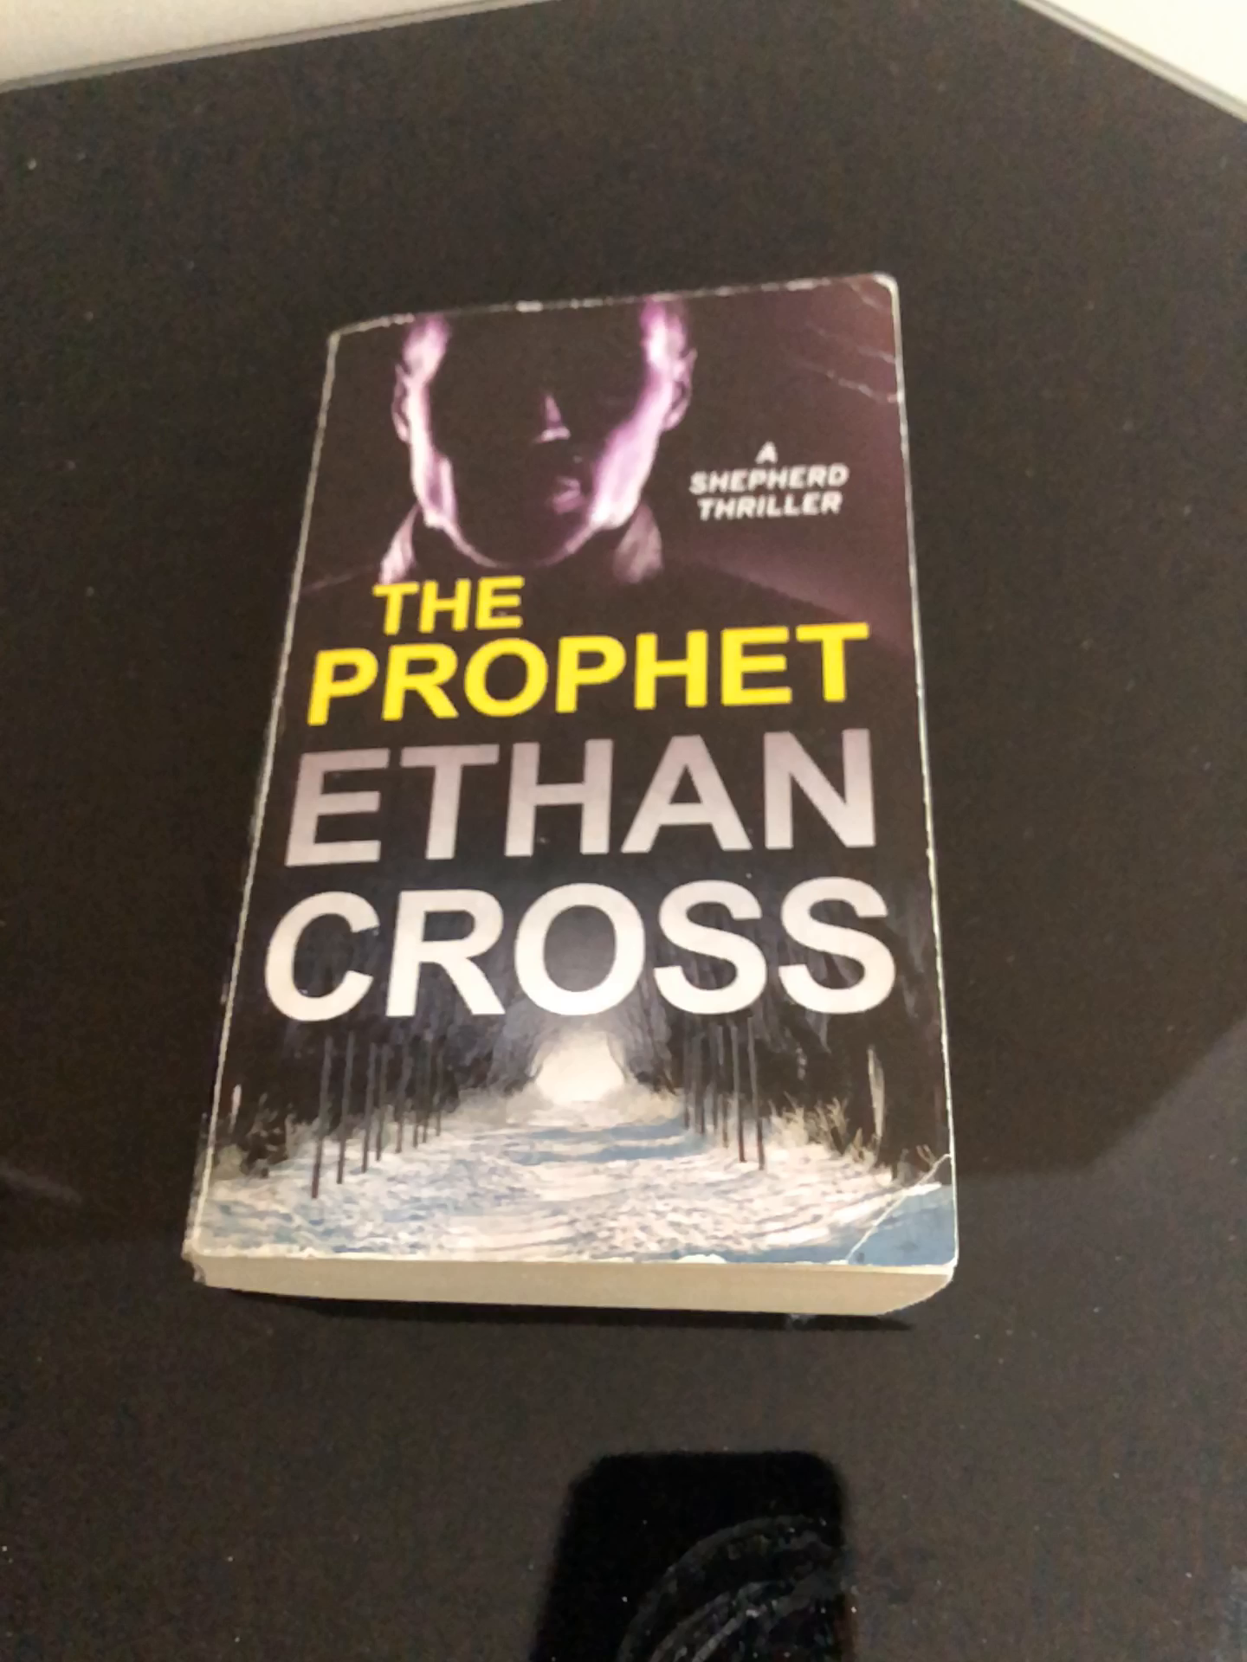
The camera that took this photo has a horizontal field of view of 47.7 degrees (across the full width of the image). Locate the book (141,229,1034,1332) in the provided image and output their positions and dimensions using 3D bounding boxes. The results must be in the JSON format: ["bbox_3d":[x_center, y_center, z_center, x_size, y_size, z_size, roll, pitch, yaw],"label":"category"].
[{"bbox_3d":[-0.001,-0.015,0.235,0.115,0.040,0.180,-1,65,7],"label":"book"}]
